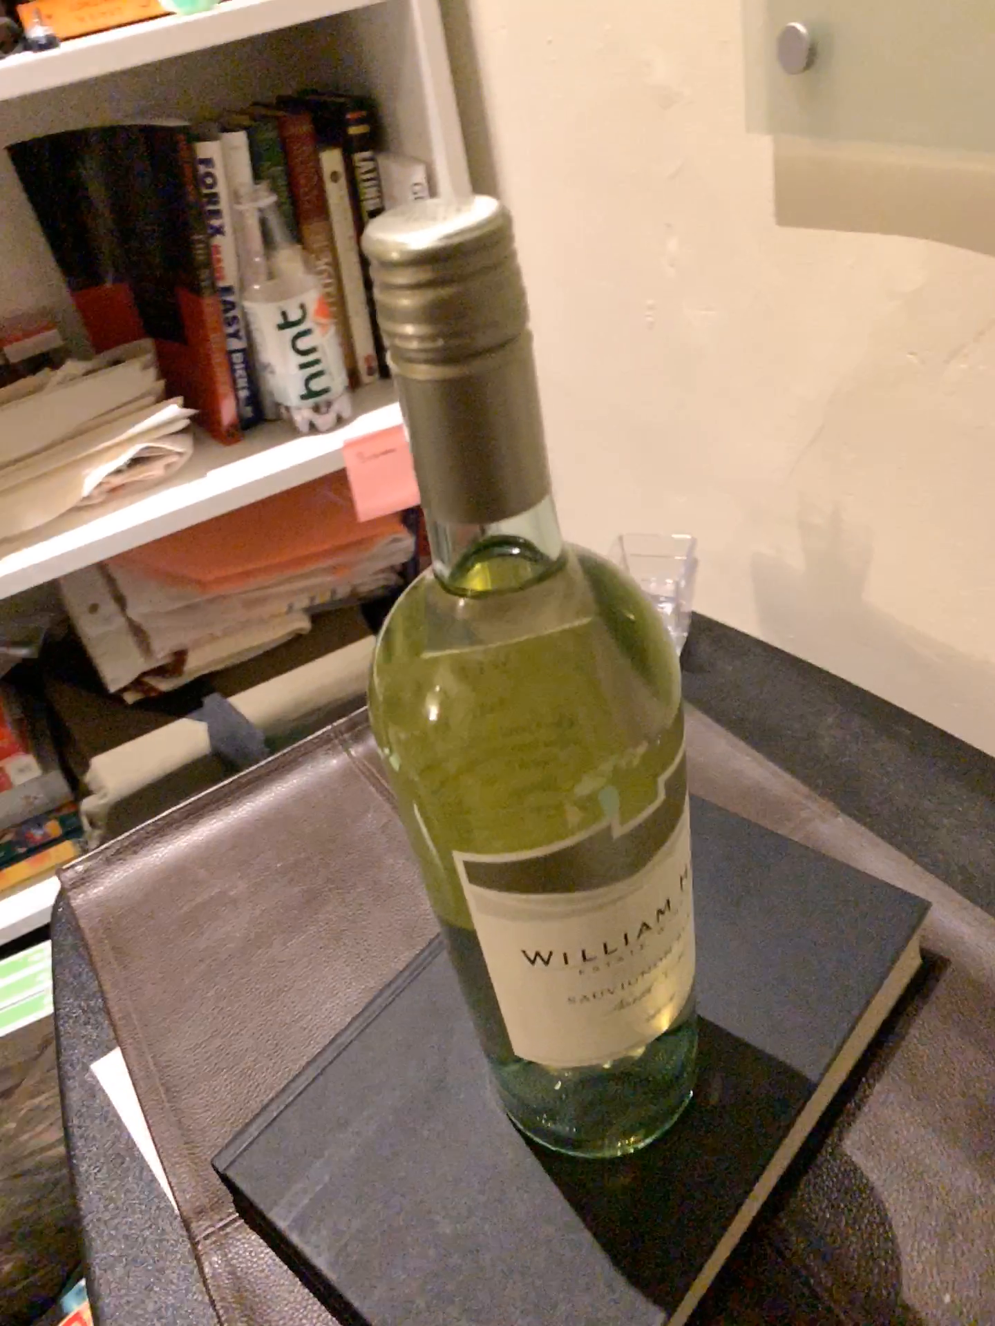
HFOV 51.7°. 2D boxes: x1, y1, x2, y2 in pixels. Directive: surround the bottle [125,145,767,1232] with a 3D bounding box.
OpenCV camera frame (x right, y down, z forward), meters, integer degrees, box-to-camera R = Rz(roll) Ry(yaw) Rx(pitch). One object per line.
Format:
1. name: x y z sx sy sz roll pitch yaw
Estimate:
1. bottle: 0.008 0.027 0.295 0.090 0.298 0.091 -8 36 6
